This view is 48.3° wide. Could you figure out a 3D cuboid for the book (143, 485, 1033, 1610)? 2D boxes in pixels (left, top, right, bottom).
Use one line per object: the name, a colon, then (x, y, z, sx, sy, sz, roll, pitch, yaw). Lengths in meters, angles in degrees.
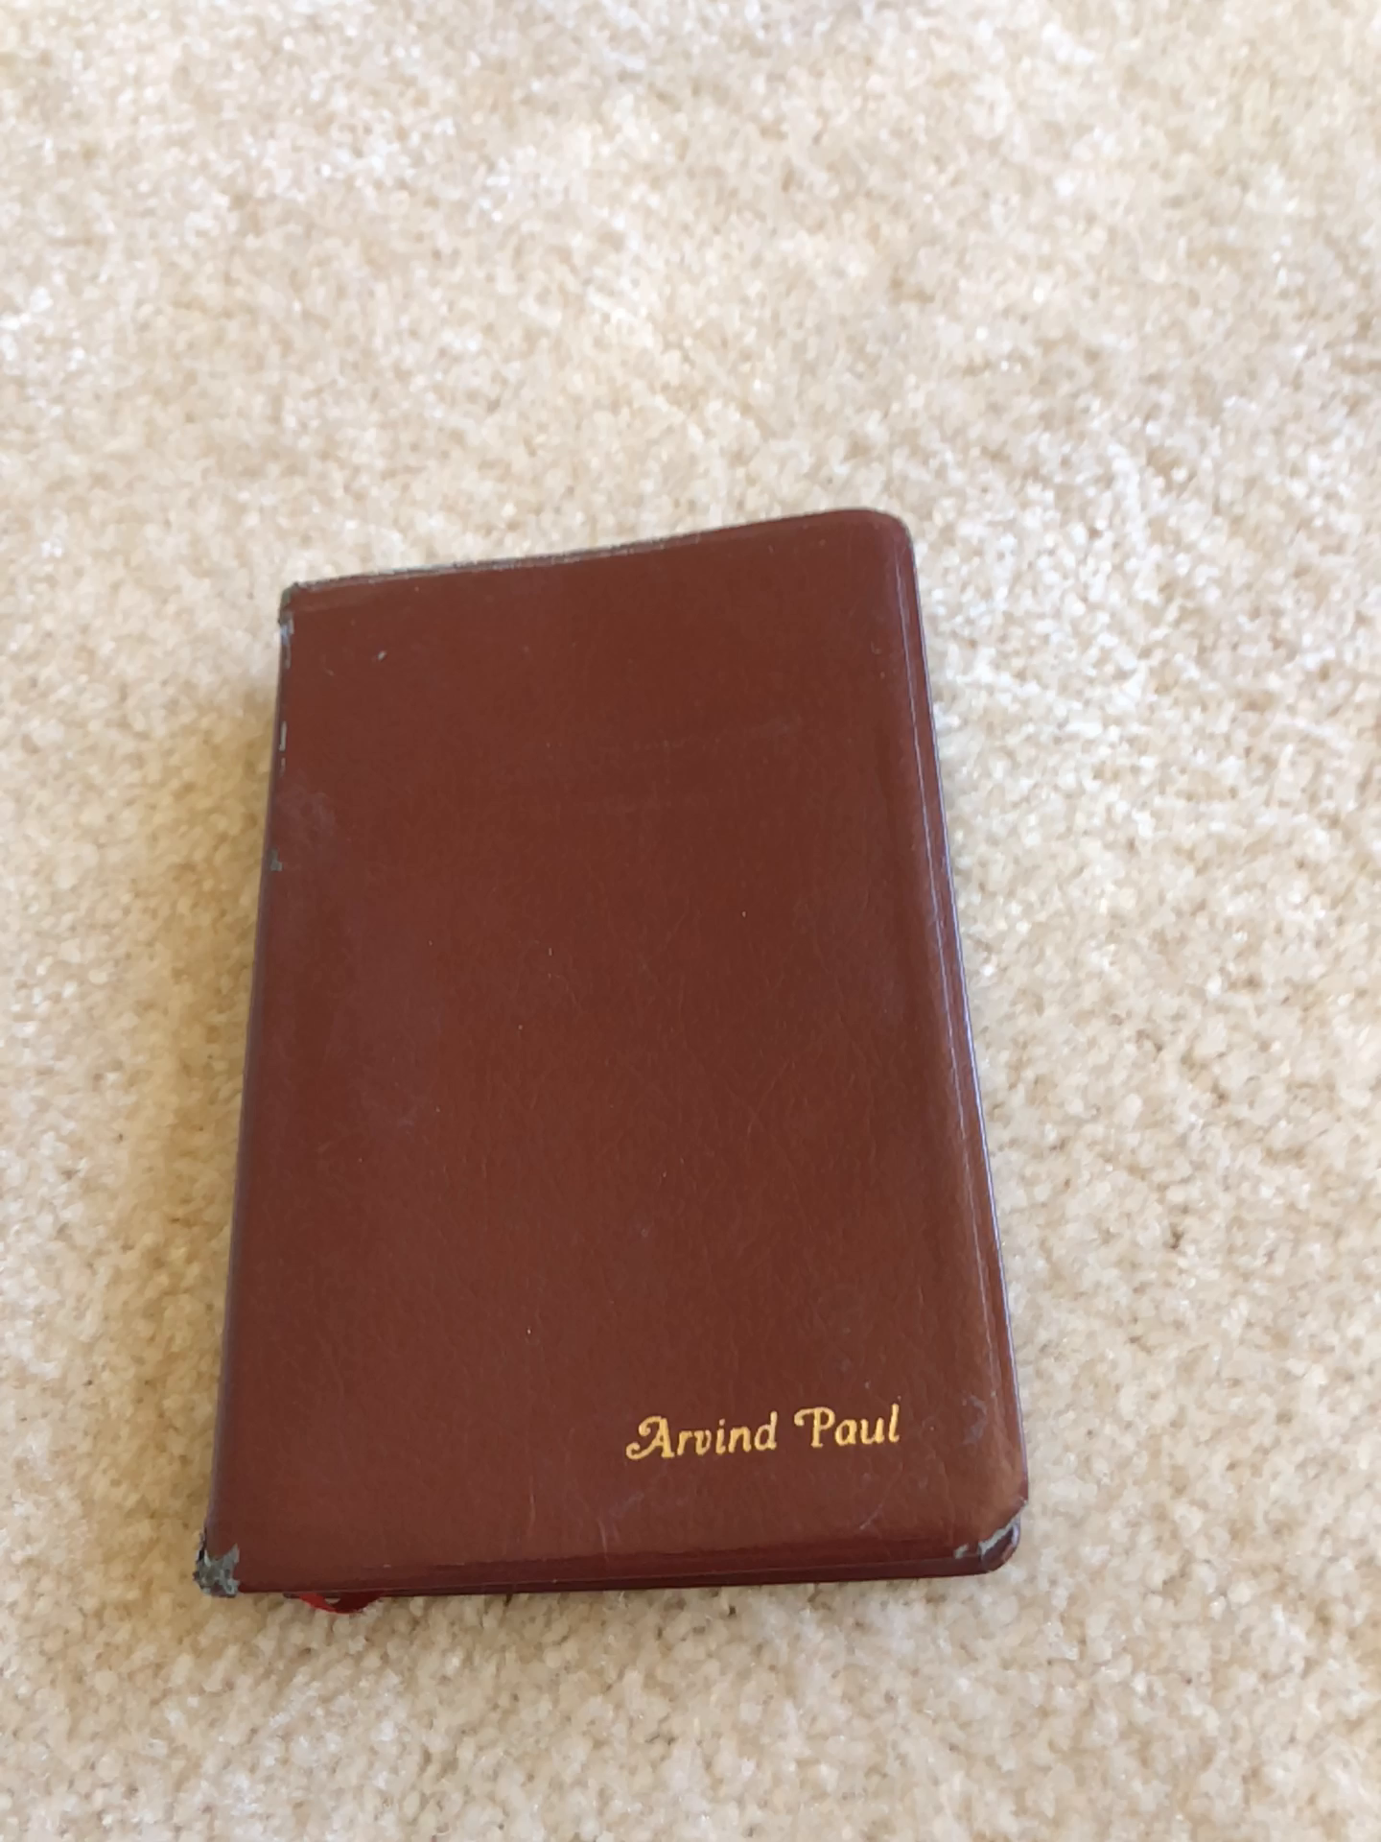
book: (-0.014, 0.017, 0.236, 0.110, 0.040, 0.157, -6, 65, 8)
